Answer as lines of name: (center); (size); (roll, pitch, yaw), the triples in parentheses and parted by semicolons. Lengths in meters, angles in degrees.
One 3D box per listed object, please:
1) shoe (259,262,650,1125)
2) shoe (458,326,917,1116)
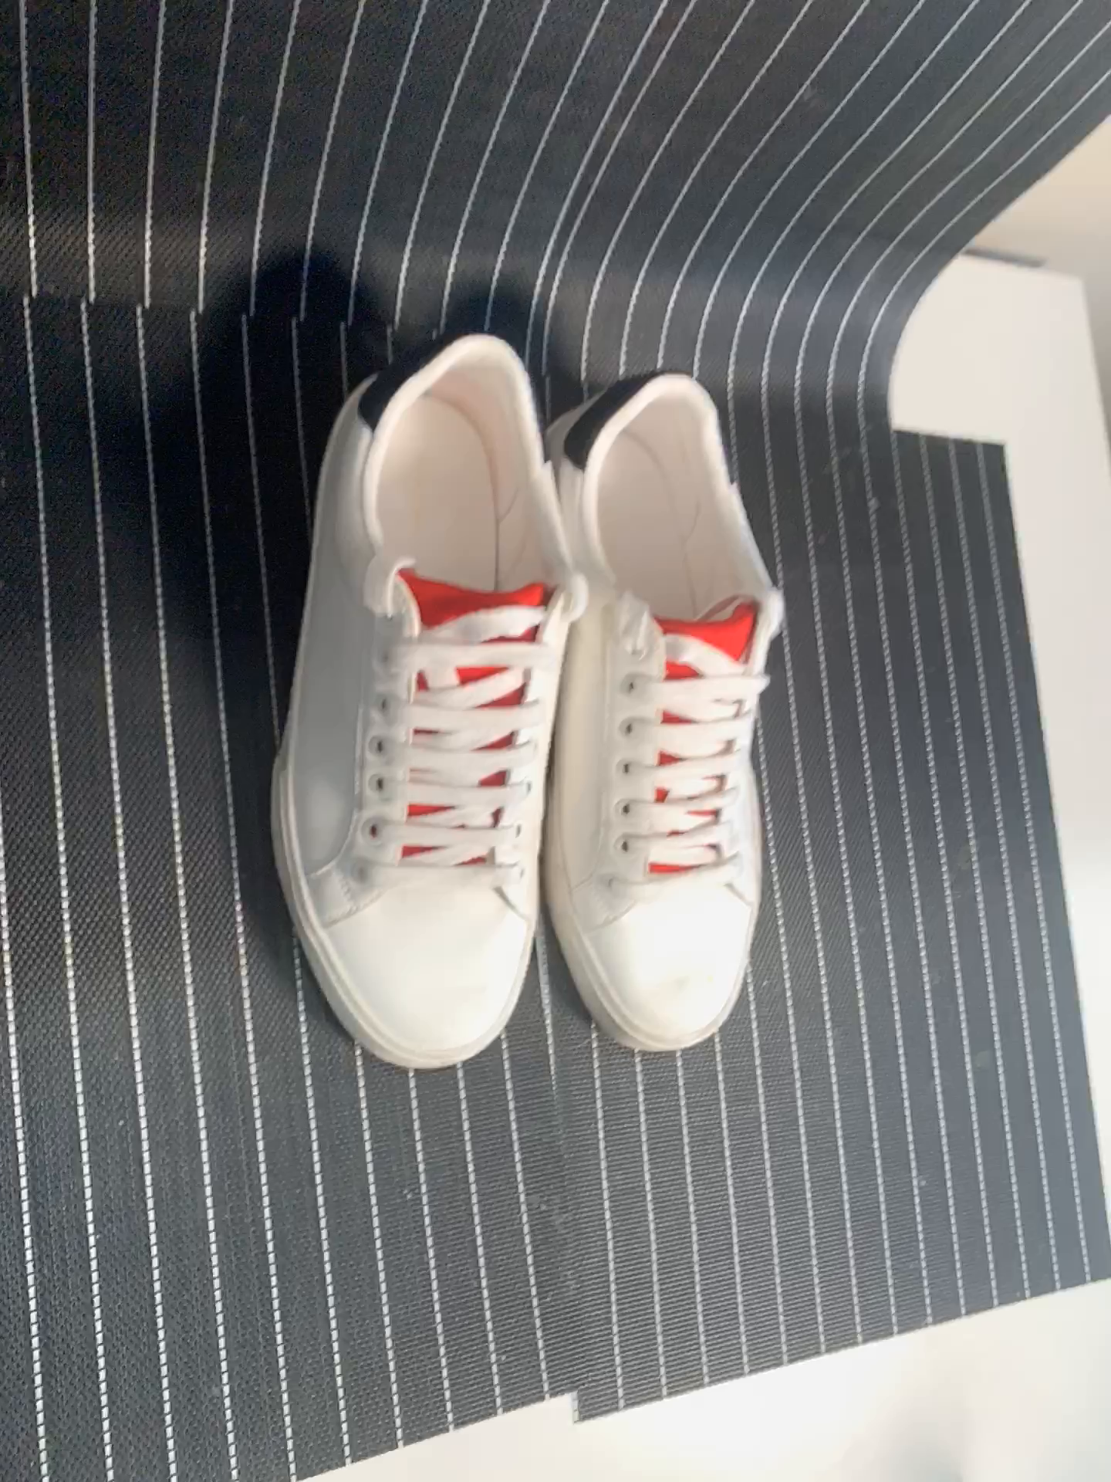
shoe: (-0.044, -0.015, 0.443); (0.120, 0.090, 0.290); (2, 80, -24)
shoe: (0.049, -0.011, 0.480); (0.120, 0.090, 0.290); (-5, 83, -25)
